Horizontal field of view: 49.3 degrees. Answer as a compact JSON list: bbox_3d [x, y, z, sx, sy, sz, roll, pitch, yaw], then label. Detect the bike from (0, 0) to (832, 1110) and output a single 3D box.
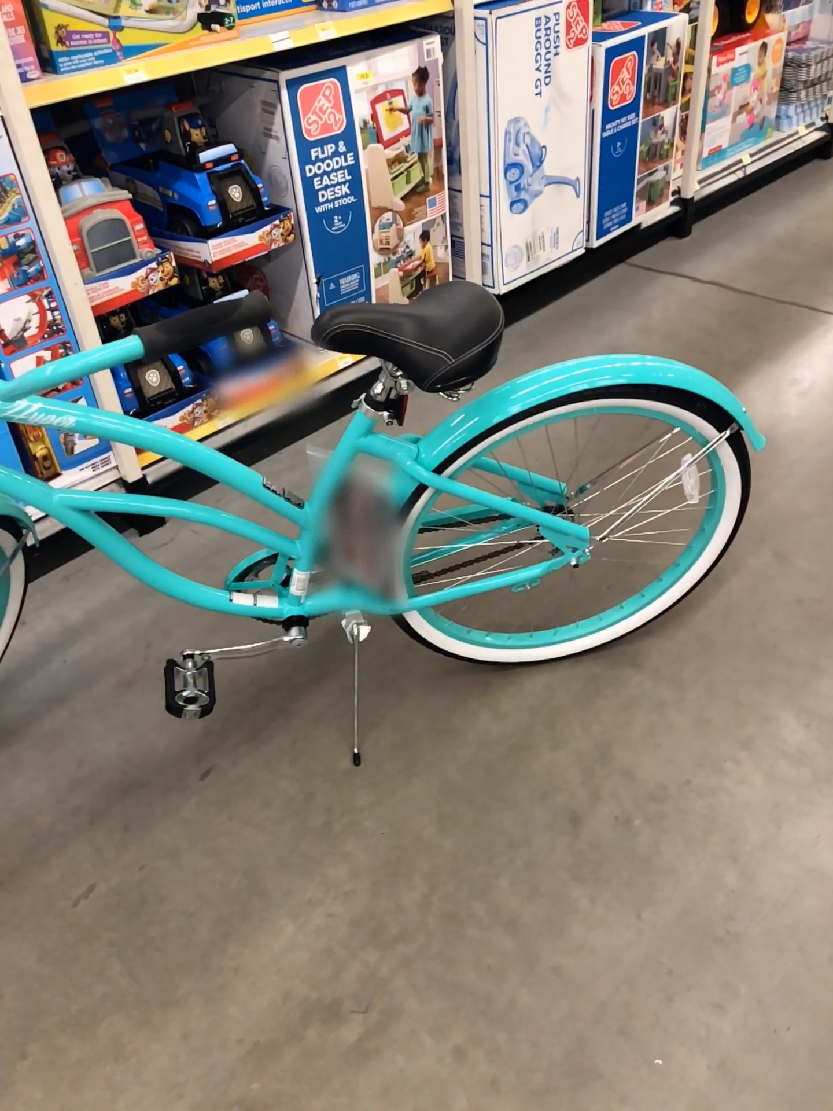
[{"bbox_3d":[-0.229,-0.006,1.177,1.492,1.144,0.762,-19,40,-12],"label":"bike"}]
